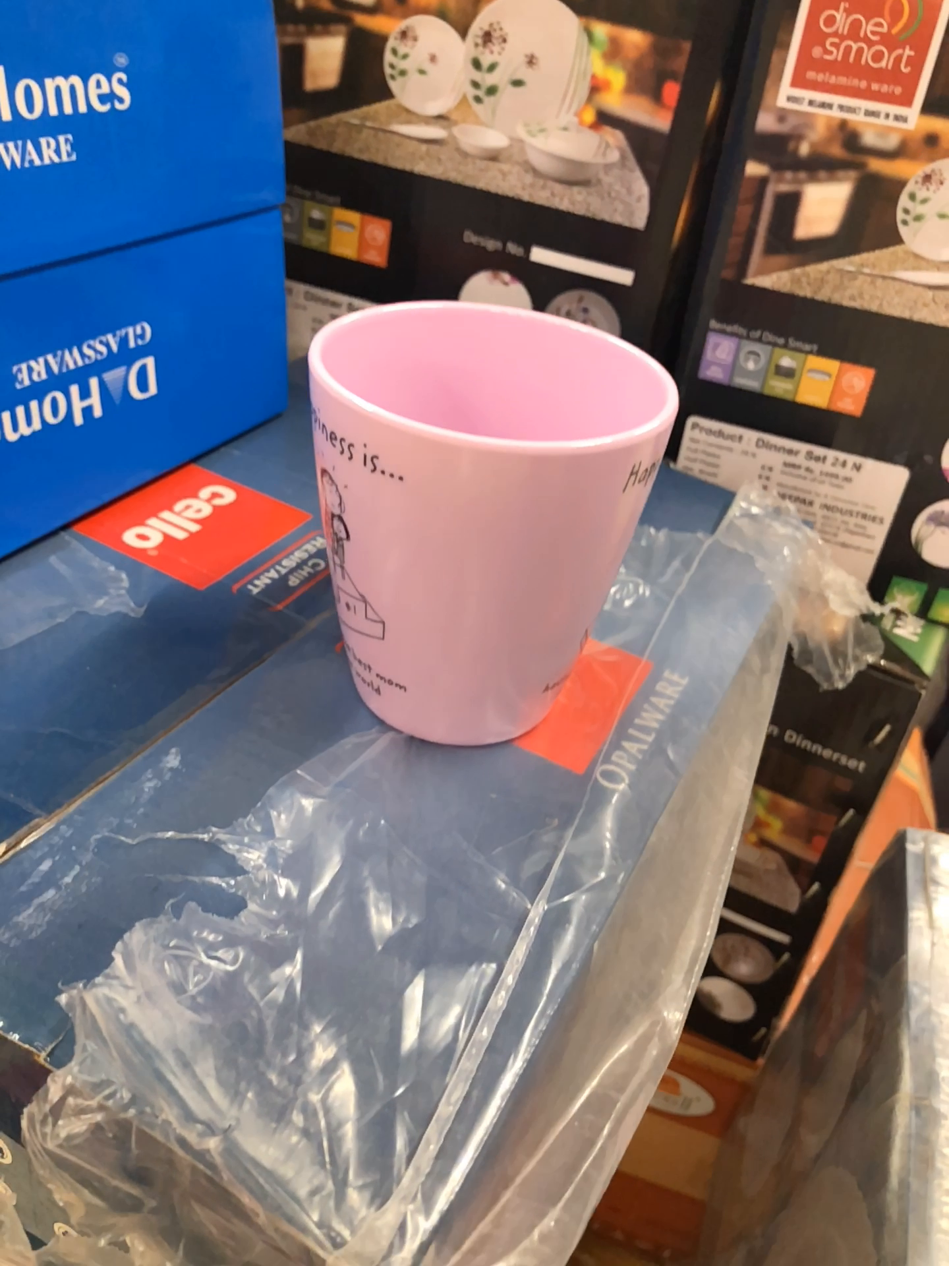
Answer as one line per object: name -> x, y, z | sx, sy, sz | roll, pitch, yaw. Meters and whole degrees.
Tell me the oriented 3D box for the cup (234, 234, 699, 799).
cup -> 0.000, -0.036, 0.278 | 0.090, 0.089, 0.111 | 12, 35, 1
